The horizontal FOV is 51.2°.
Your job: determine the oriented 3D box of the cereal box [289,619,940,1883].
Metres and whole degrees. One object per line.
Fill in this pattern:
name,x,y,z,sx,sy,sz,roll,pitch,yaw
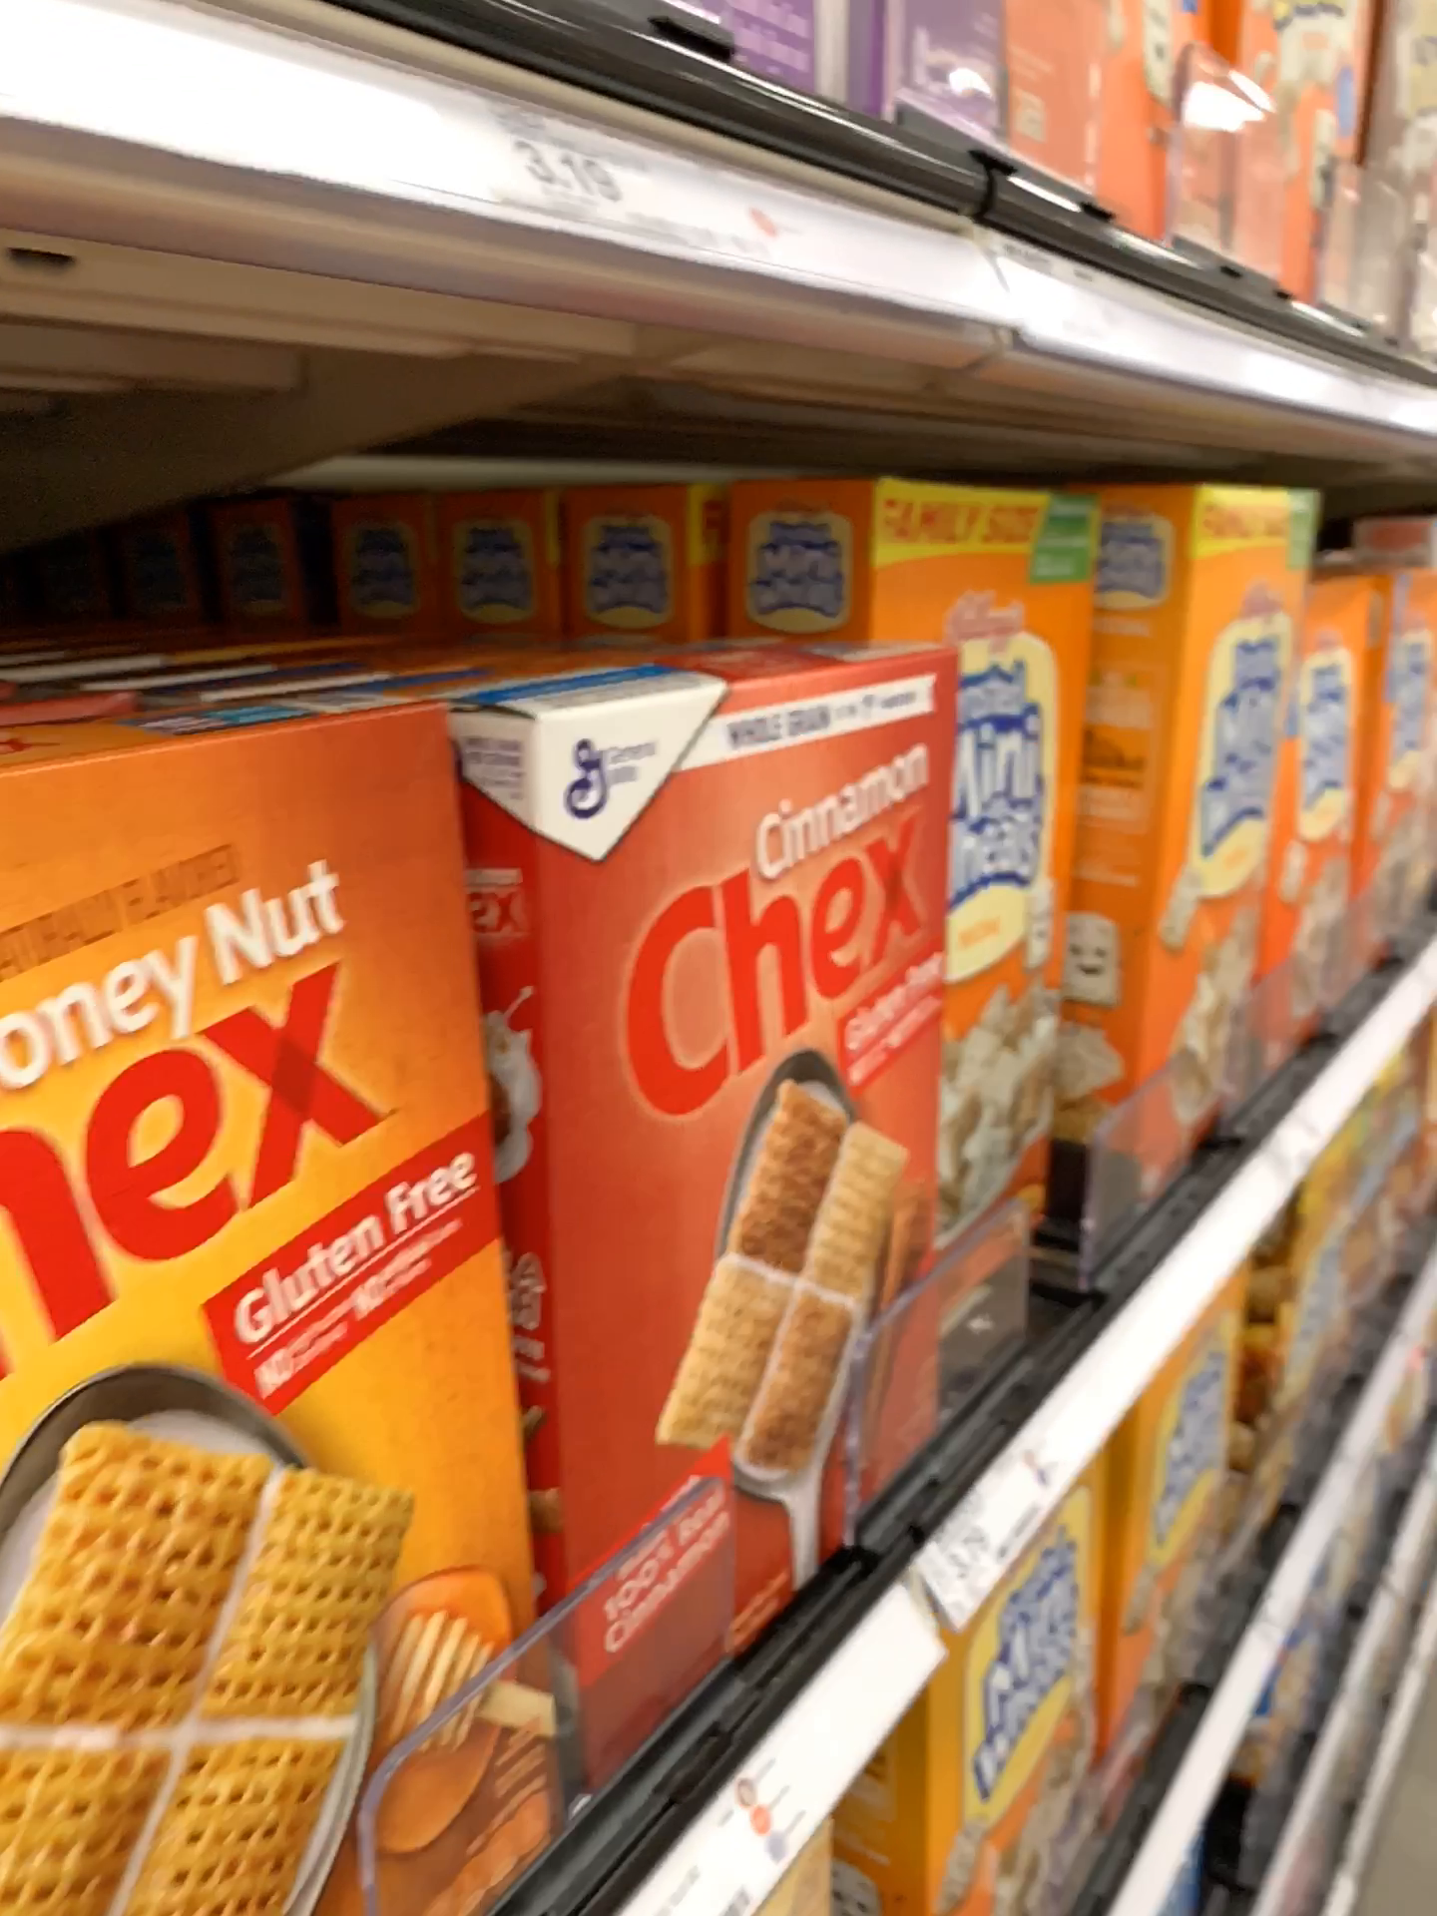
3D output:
cereal box,-0.012,0.062,0.435,0.060,0.299,0.200,10,19,33

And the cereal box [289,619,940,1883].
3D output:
cereal box,-0.012,0.062,0.435,0.060,0.299,0.200,10,19,33
